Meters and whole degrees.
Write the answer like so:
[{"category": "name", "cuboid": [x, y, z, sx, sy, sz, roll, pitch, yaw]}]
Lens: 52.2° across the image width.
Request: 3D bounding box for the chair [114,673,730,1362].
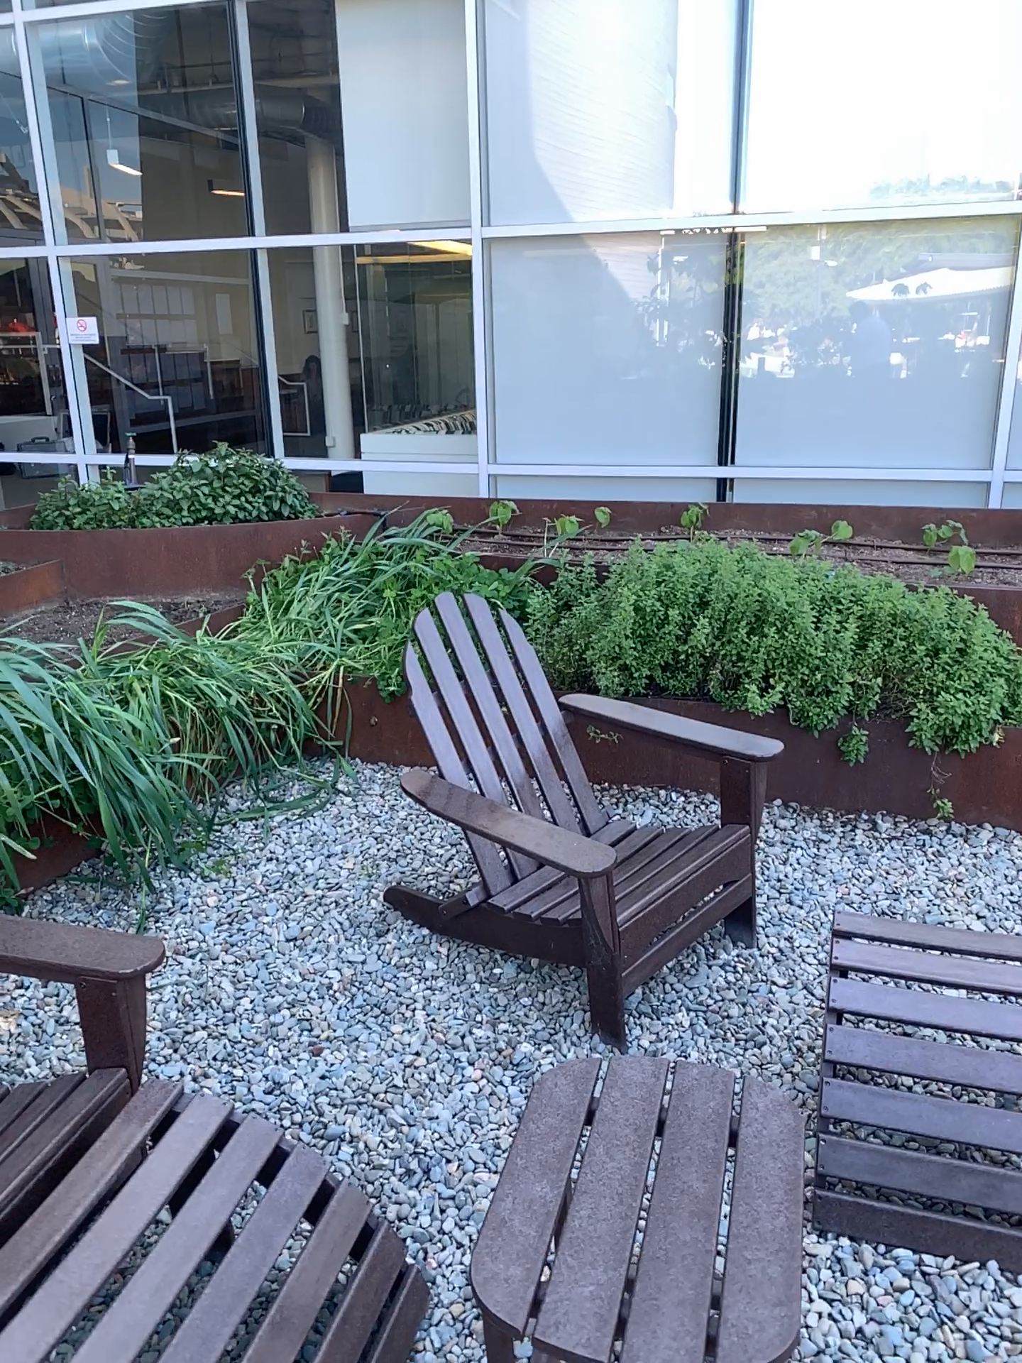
[{"category": "chair", "cuboid": [-0.227, 0.671, 2.473, 1.000, 0.996, 1.004, -13, 22, -33]}]
